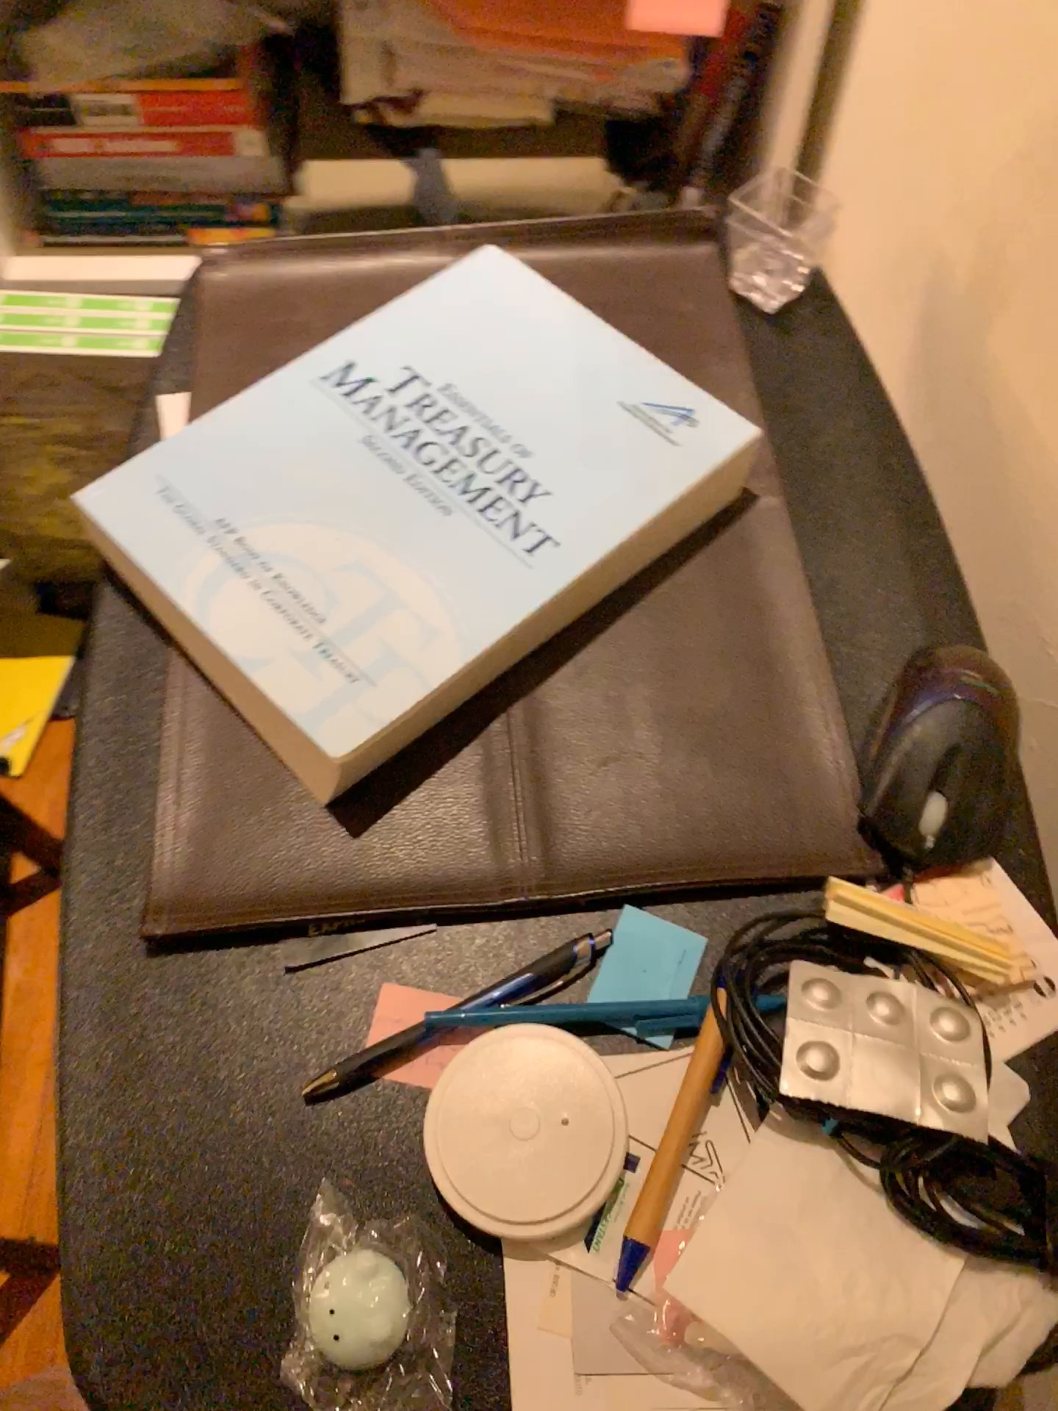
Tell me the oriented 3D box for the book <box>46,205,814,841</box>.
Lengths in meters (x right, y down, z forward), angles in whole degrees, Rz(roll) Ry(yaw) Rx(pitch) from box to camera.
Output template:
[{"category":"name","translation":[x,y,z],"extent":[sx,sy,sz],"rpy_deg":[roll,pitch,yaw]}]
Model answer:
[{"category":"book","translation":[-0.045,-0.112,0.555],"extent":[0.300,0.060,0.221],"rpy_deg":[-38,66,-20]}]
